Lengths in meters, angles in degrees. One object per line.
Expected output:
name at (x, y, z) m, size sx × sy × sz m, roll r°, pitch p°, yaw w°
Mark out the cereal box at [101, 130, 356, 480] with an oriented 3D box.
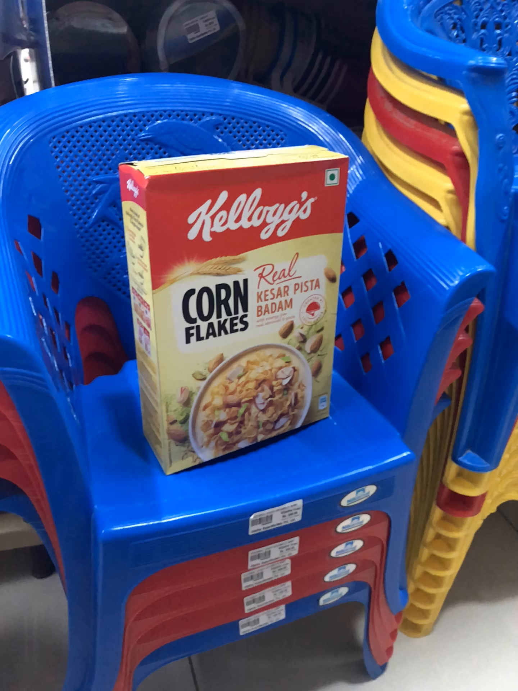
cereal box at (-0.020, -0.039, 0.513) m, size 0.190 × 0.269 × 0.070 m, roll -15°, pitch 30°, yaw -28°
